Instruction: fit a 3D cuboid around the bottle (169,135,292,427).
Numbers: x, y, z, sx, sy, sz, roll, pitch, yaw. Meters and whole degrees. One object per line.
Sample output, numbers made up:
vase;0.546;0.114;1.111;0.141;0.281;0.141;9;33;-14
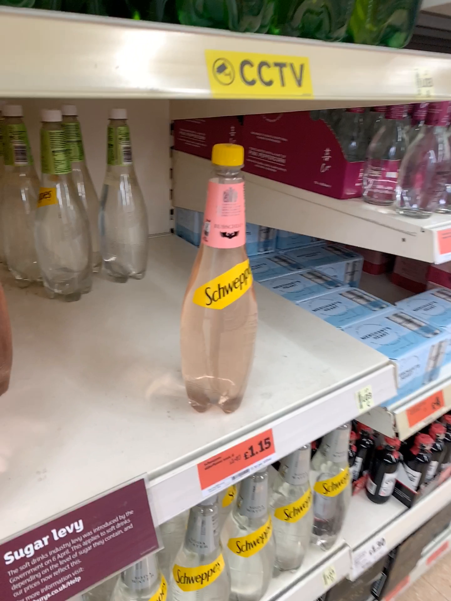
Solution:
bottle;-0.005;-0.018;0.507;0.085;0.299;0.090;3;26;-1
